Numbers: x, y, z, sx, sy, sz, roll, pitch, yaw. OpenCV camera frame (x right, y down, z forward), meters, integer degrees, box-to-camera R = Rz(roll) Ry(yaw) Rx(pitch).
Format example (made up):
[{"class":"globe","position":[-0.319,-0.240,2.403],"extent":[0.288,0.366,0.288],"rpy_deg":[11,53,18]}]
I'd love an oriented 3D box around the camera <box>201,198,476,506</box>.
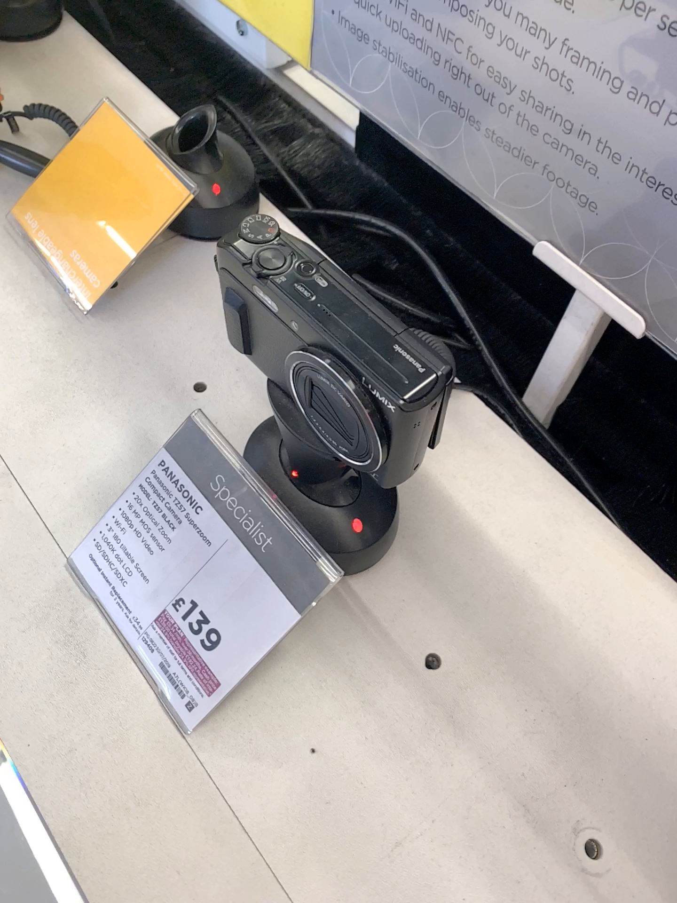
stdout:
[{"class":"camera","position":[-0.004,-0.039,0.271],"extent":[0.030,0.060,0.111],"rpy_deg":[-37,68,-22]}]
